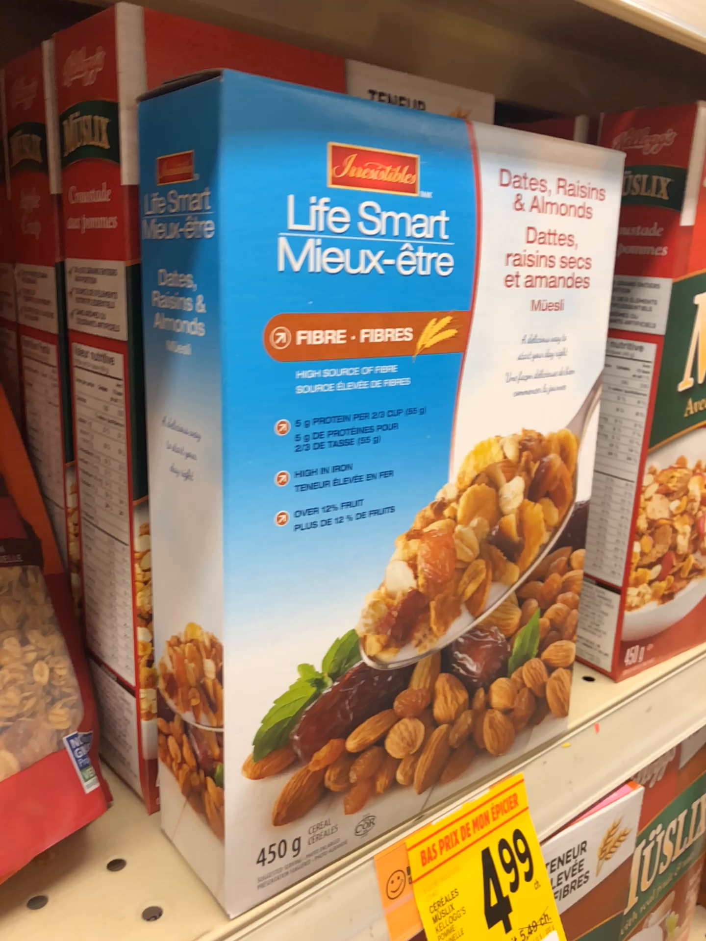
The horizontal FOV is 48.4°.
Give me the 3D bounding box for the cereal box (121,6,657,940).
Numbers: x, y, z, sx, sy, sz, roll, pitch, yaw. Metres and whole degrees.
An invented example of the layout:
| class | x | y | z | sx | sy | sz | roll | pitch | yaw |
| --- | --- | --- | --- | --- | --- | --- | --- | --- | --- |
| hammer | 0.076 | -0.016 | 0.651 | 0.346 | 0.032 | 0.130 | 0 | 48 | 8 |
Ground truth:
| class | x | y | z | sx | sy | sz | roll | pitch | yaw |
| --- | --- | --- | --- | --- | --- | --- | --- | --- | --- |
| cereal box | 0.016 | 0.001 | 0.265 | 0.170 | 0.239 | 0.050 | -9 | 19 | -38 |
